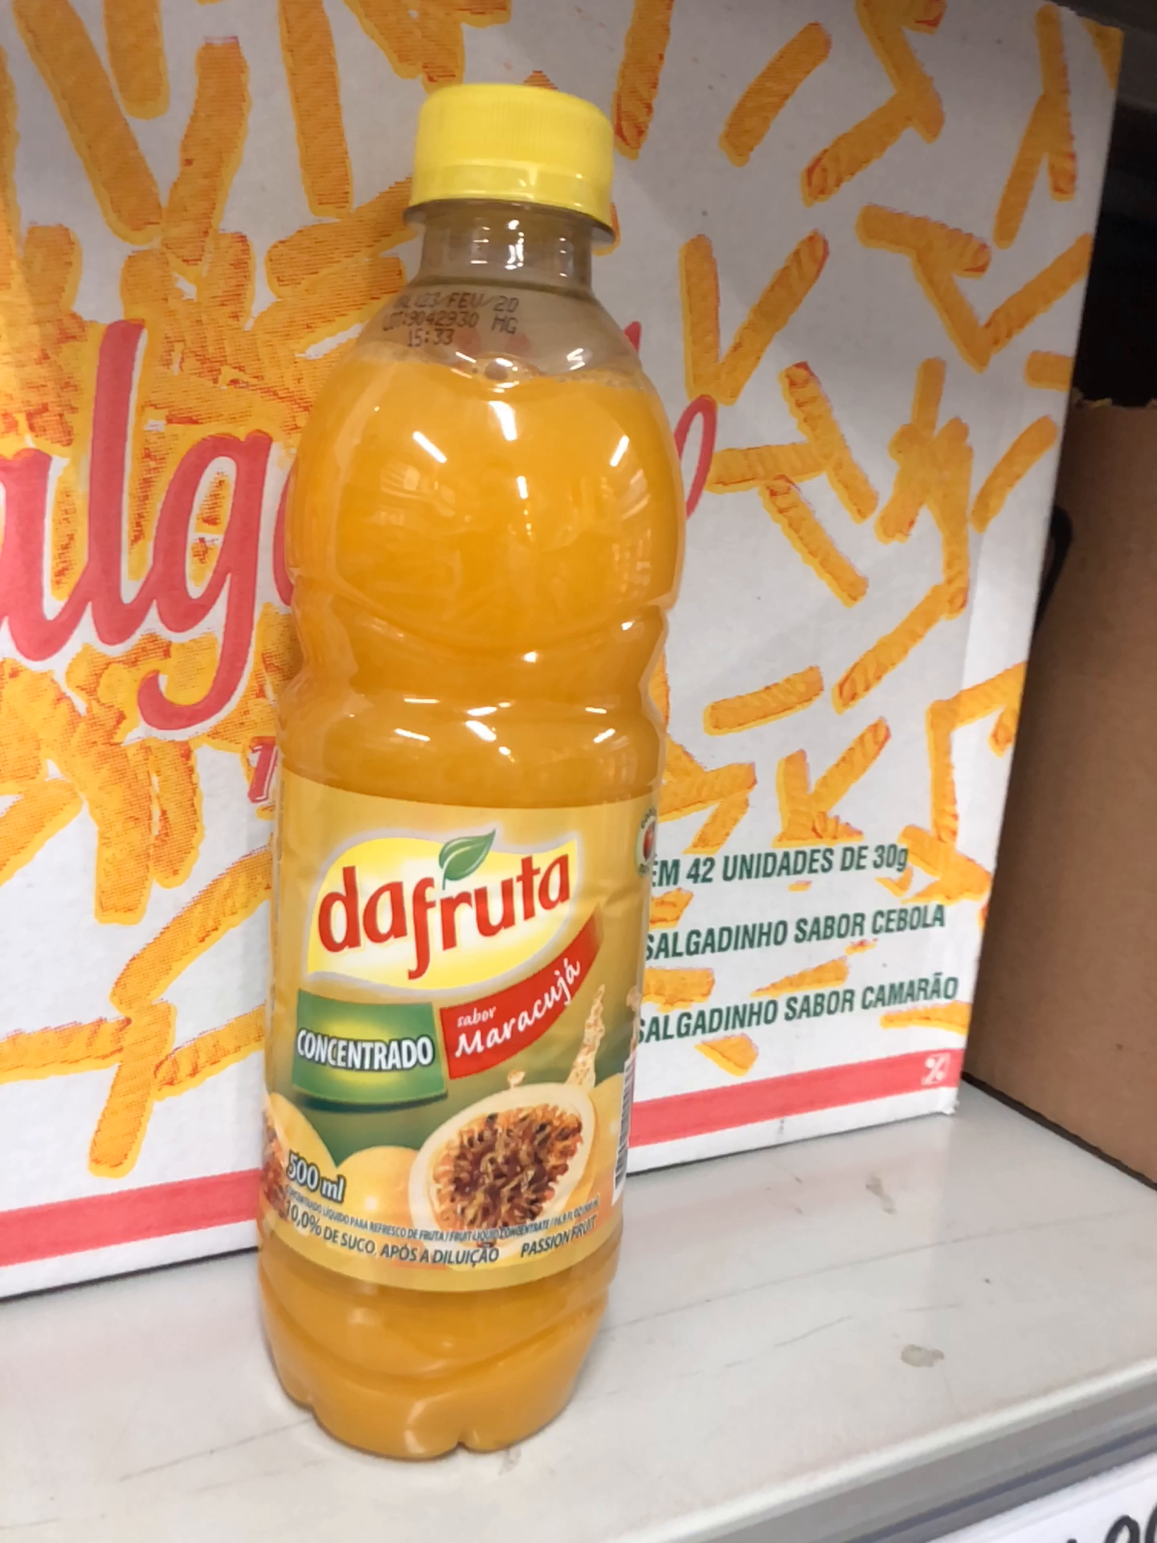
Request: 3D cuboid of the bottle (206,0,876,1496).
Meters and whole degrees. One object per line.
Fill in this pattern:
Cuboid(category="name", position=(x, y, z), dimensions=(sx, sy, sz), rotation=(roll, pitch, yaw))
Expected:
Cuboid(category="bottle", position=(-0.015, 0.001, 0.198), dimensions=(0.070, 0.199, 0.060), rotation=(3, 14, -13))
